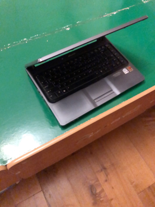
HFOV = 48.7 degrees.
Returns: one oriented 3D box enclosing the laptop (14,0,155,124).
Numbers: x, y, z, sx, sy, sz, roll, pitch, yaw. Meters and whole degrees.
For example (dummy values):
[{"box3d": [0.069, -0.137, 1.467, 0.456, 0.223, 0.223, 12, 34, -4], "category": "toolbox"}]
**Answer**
[{"box3d": [0.033, -0.140, 0.498, 0.316, 0.171, 0.227, -28, 67, -19], "category": "laptop"}]
